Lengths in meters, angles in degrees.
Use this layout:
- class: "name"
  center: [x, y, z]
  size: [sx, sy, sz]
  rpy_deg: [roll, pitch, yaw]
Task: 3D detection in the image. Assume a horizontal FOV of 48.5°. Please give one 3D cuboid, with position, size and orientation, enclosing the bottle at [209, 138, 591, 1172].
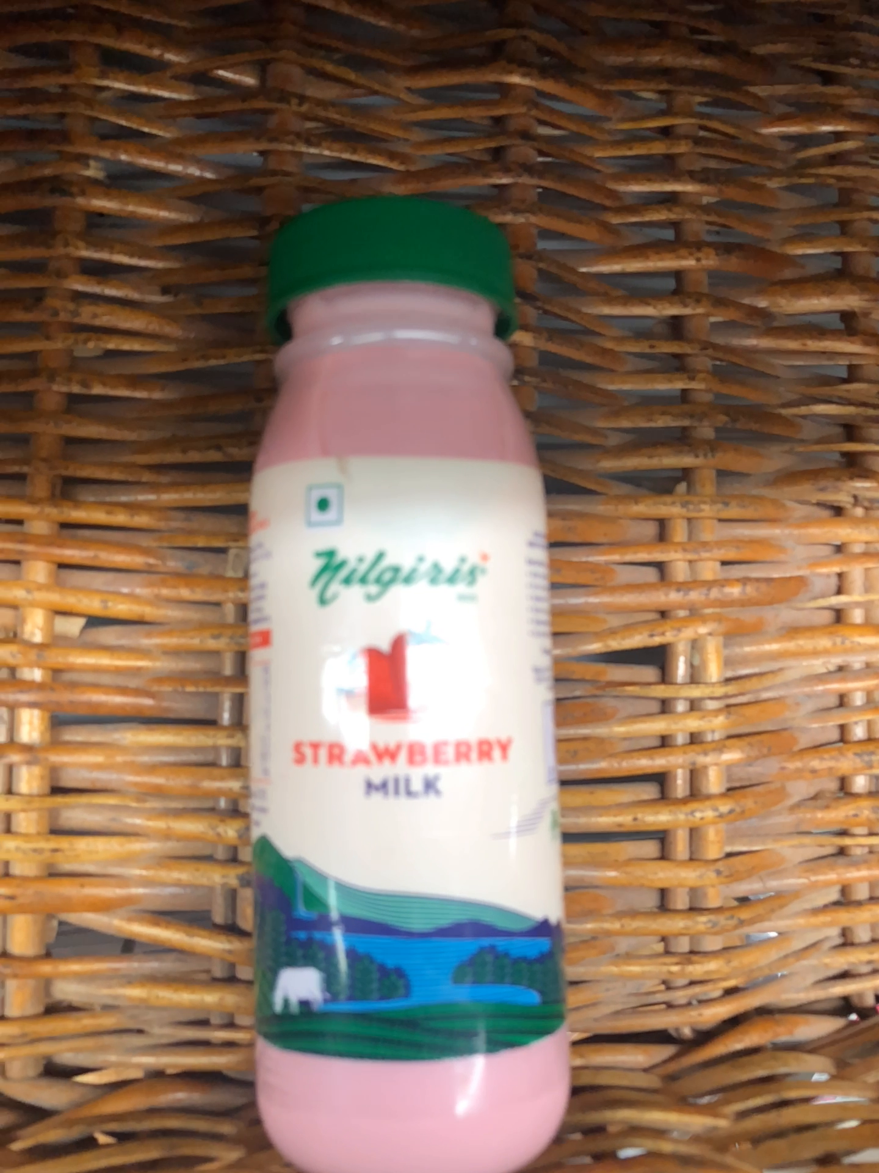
- class: "bottle"
  center: [-0.009, 0.014, 0.153]
  size: [0.050, 0.040, 0.150]
  rpy_deg: [0, 85, -10]
